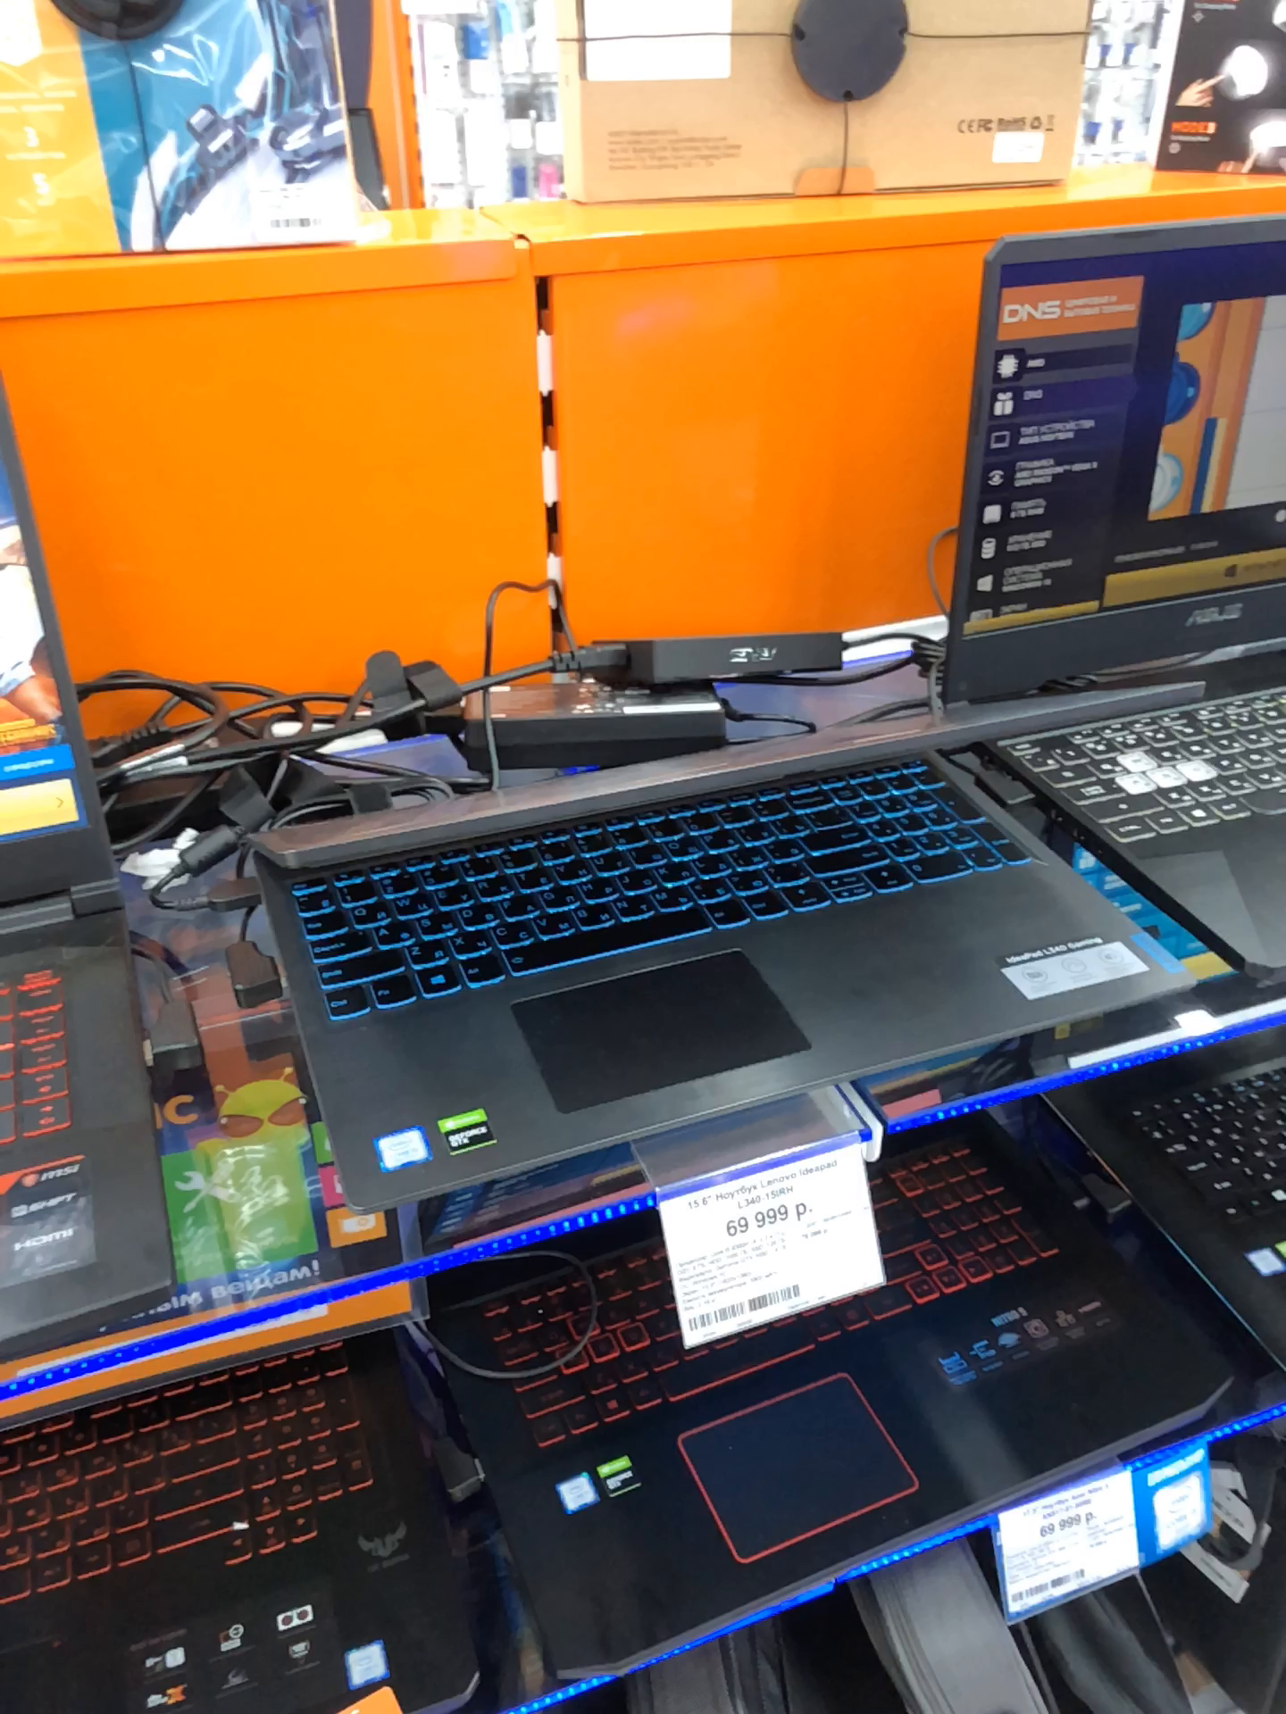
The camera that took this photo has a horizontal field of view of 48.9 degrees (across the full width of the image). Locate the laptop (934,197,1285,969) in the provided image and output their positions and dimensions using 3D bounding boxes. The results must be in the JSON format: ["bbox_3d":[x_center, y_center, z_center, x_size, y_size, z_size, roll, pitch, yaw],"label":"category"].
[{"bbox_3d":[0.390,-0.166,0.709,0.384,0.250,0.278,-11,33,-17],"label":"laptop"}]

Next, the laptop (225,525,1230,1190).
[{"bbox_3d":[0.020,-0.027,0.617,0.348,0.117,0.241,-12,34,-17],"label":"laptop"}]

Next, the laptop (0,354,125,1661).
[{"bbox_3d":[-0.396,-0.009,0.468,0.348,0.228,0.326,-11,33,-20],"label":"laptop"}]
